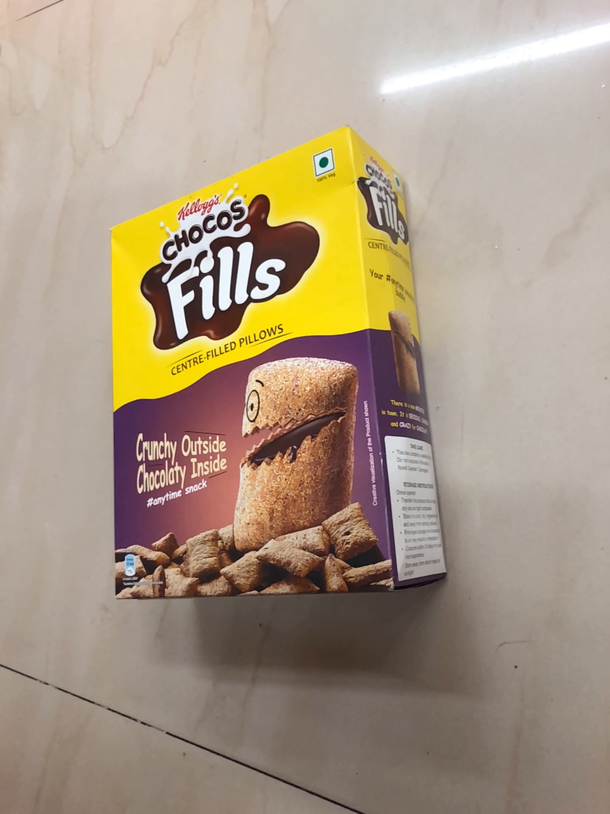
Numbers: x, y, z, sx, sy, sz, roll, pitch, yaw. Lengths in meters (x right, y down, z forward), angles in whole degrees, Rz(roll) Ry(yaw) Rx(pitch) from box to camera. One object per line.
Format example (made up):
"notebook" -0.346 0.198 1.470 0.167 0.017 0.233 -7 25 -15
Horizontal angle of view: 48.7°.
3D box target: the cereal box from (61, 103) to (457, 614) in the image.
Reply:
"cereal box" -0.038 -0.011 0.376 0.201 0.070 0.230 -13 73 30
